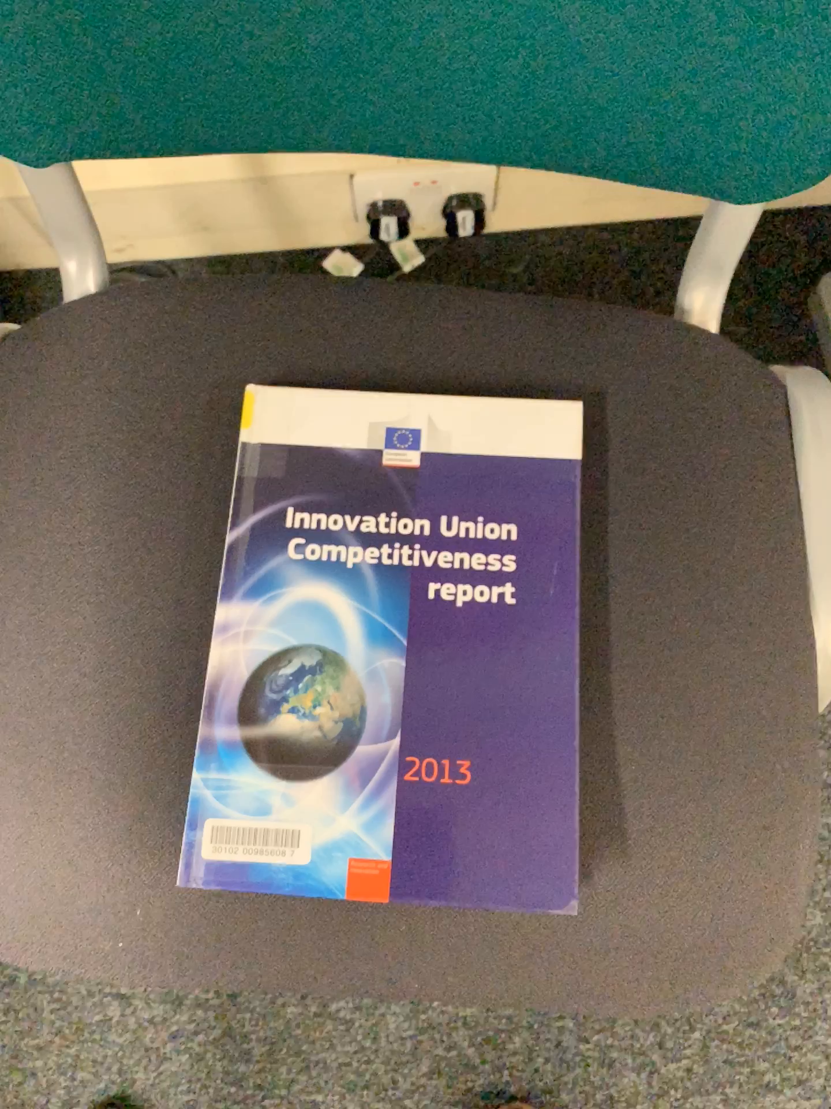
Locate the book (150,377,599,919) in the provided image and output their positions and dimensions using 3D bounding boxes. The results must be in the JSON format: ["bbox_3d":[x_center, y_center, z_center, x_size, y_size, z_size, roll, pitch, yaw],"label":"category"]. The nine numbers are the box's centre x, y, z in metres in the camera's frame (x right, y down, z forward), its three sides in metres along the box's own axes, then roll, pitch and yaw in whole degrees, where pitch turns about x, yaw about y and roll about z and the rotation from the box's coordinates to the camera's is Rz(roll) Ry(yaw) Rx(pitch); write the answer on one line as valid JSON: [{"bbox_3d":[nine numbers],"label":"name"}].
[{"bbox_3d":[-0.011,0.034,0.422,0.194,0.026,0.251,3,73,4],"label":"book"}]
